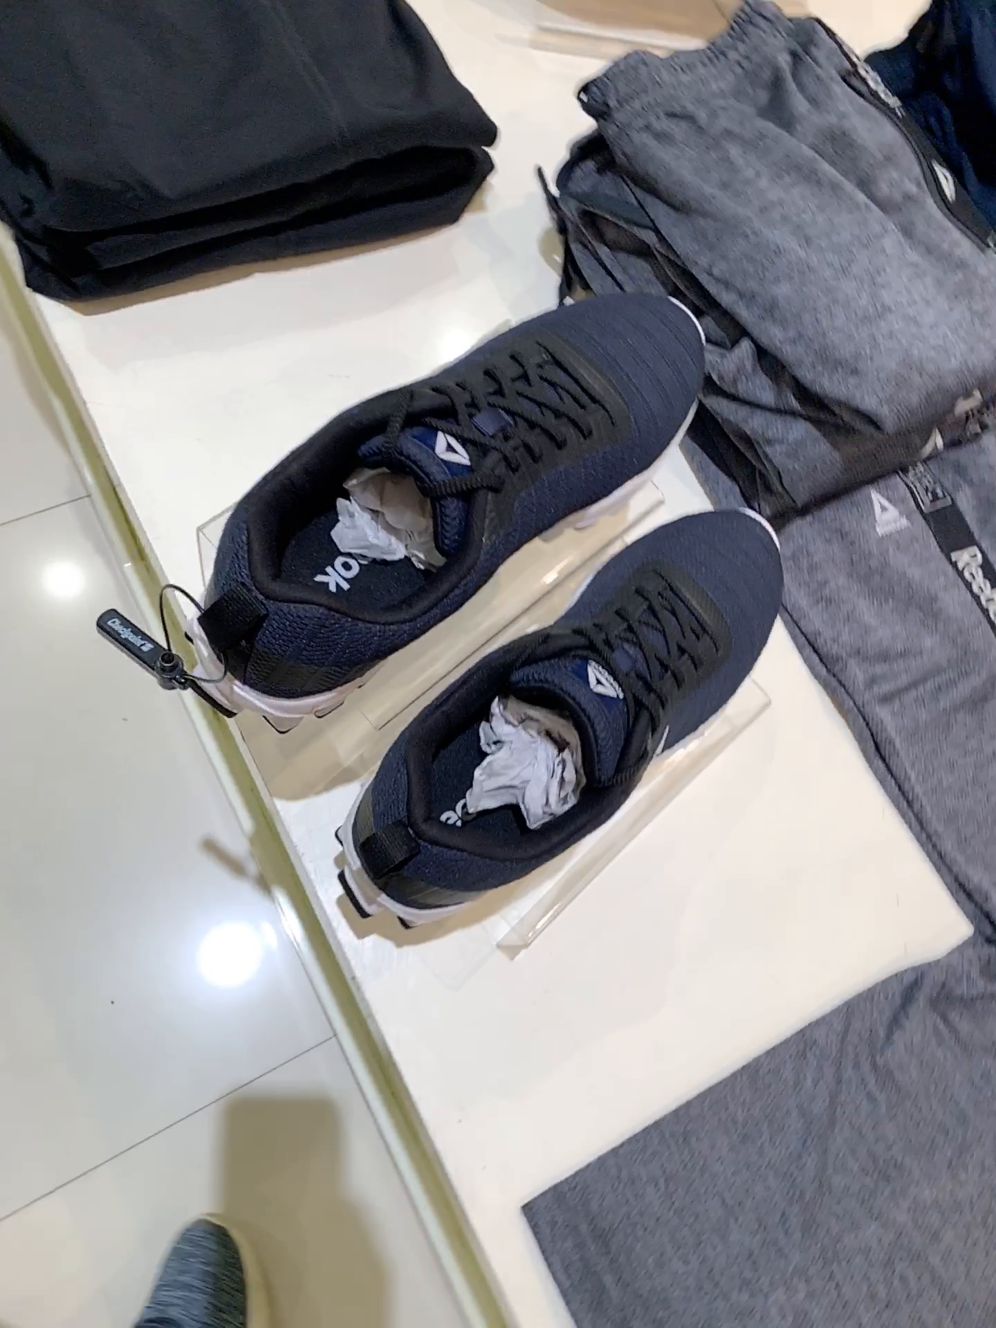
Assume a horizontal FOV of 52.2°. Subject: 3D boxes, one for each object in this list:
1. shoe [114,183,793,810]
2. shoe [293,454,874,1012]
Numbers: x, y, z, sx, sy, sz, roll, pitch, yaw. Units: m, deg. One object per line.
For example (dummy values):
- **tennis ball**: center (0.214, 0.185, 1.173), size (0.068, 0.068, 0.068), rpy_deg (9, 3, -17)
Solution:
- **shoe**: center (-0.011, -0.081, 0.455), size (0.120, 0.080, 0.281), rpy_deg (45, 68, 4)
- **shoe**: center (0.054, 0.016, 0.480), size (0.100, 0.080, 0.291), rpy_deg (48, 54, 5)
